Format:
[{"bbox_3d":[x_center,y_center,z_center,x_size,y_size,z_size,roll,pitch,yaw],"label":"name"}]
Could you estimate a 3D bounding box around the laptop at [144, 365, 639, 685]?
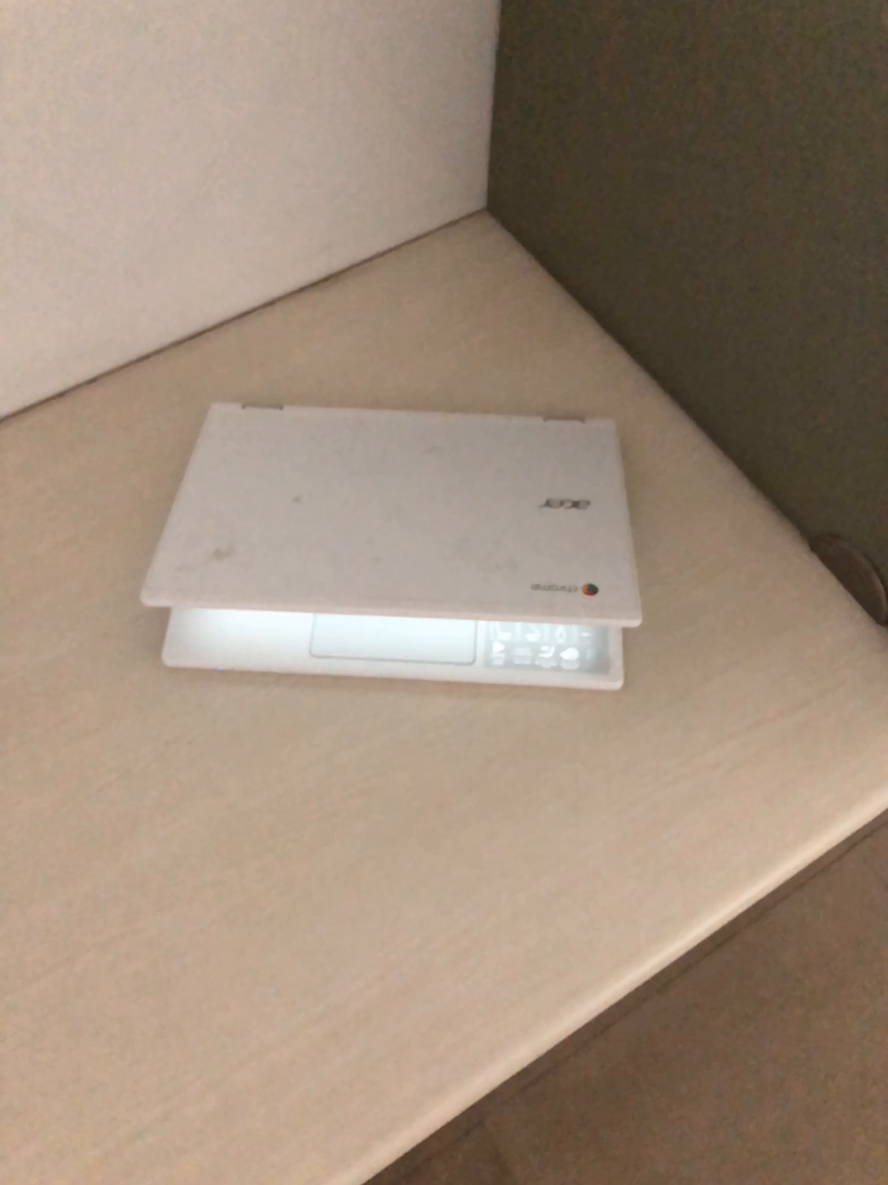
[{"bbox_3d":[-0.025,-0.048,0.629,0.282,0.055,0.192,3,61,1],"label":"laptop"}]
